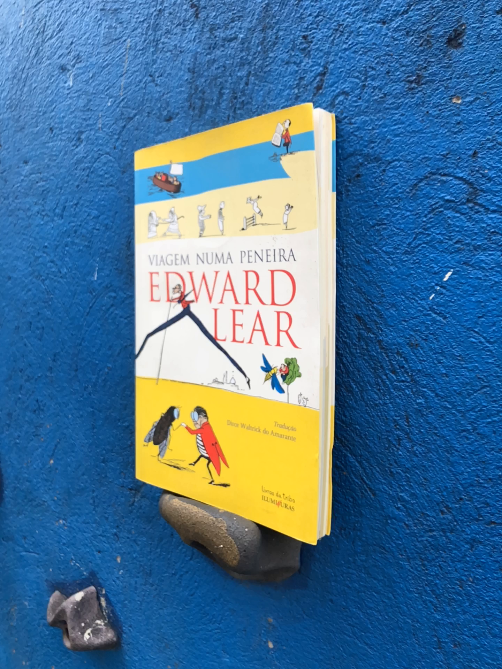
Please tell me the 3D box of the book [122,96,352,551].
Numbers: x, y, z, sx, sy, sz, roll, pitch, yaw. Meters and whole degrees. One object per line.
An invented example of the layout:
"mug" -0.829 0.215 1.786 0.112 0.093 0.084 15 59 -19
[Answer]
"book" -0.016 -0.008 0.329 0.158 0.220 0.021 4 6 40
